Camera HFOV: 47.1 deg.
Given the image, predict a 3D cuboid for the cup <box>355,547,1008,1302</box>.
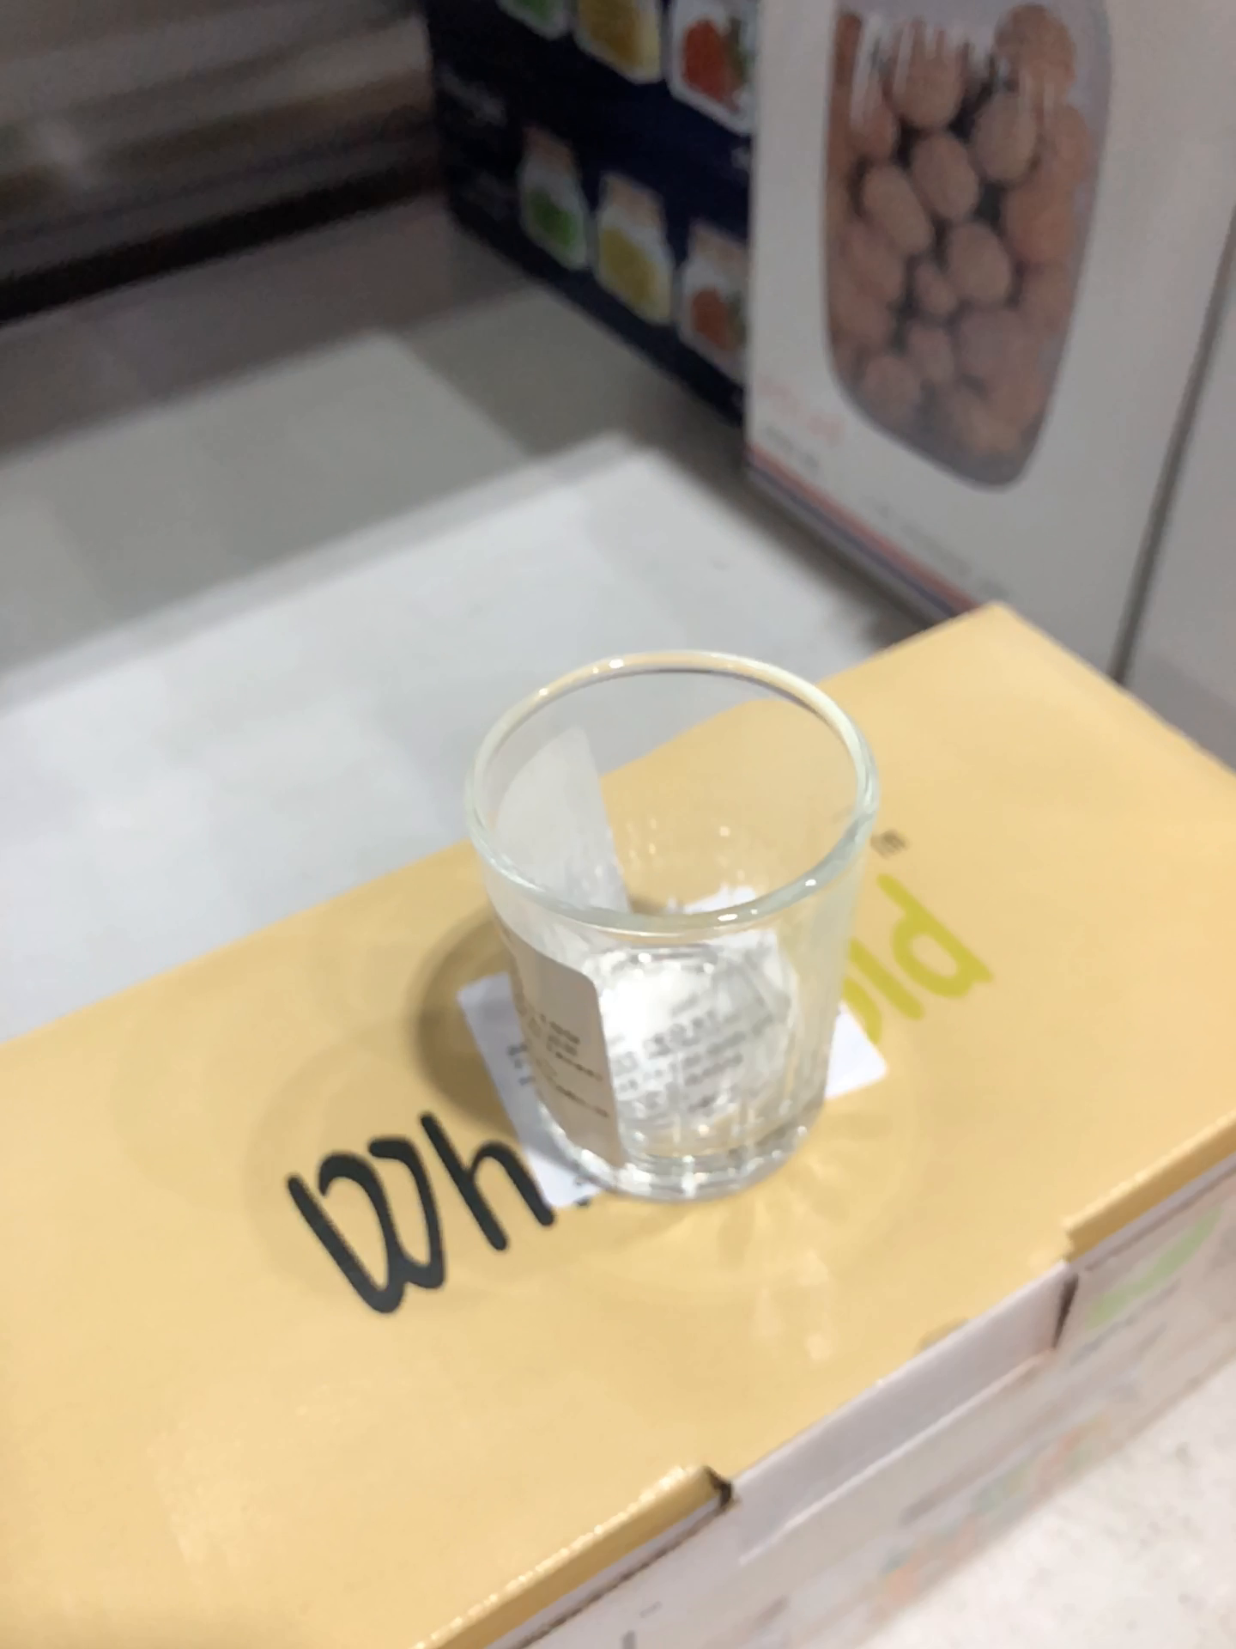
[{"bbox_3d":[0.008,0.011,0.175,0.050,0.060,0.050,-1,46,1],"label":"cup"}]
